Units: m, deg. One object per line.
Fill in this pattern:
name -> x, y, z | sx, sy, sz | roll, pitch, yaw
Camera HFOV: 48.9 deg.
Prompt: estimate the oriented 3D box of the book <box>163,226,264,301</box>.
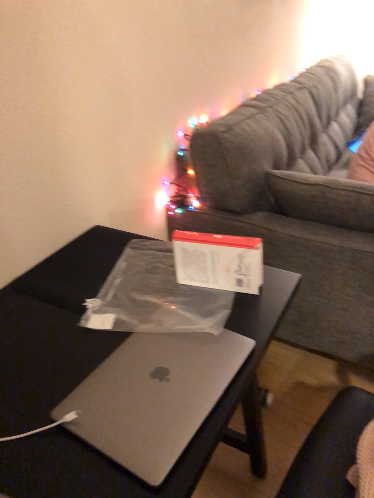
book -> 0.056, 0.030, 0.877 | 0.200, 0.129, 0.050 | 7, 31, 15
